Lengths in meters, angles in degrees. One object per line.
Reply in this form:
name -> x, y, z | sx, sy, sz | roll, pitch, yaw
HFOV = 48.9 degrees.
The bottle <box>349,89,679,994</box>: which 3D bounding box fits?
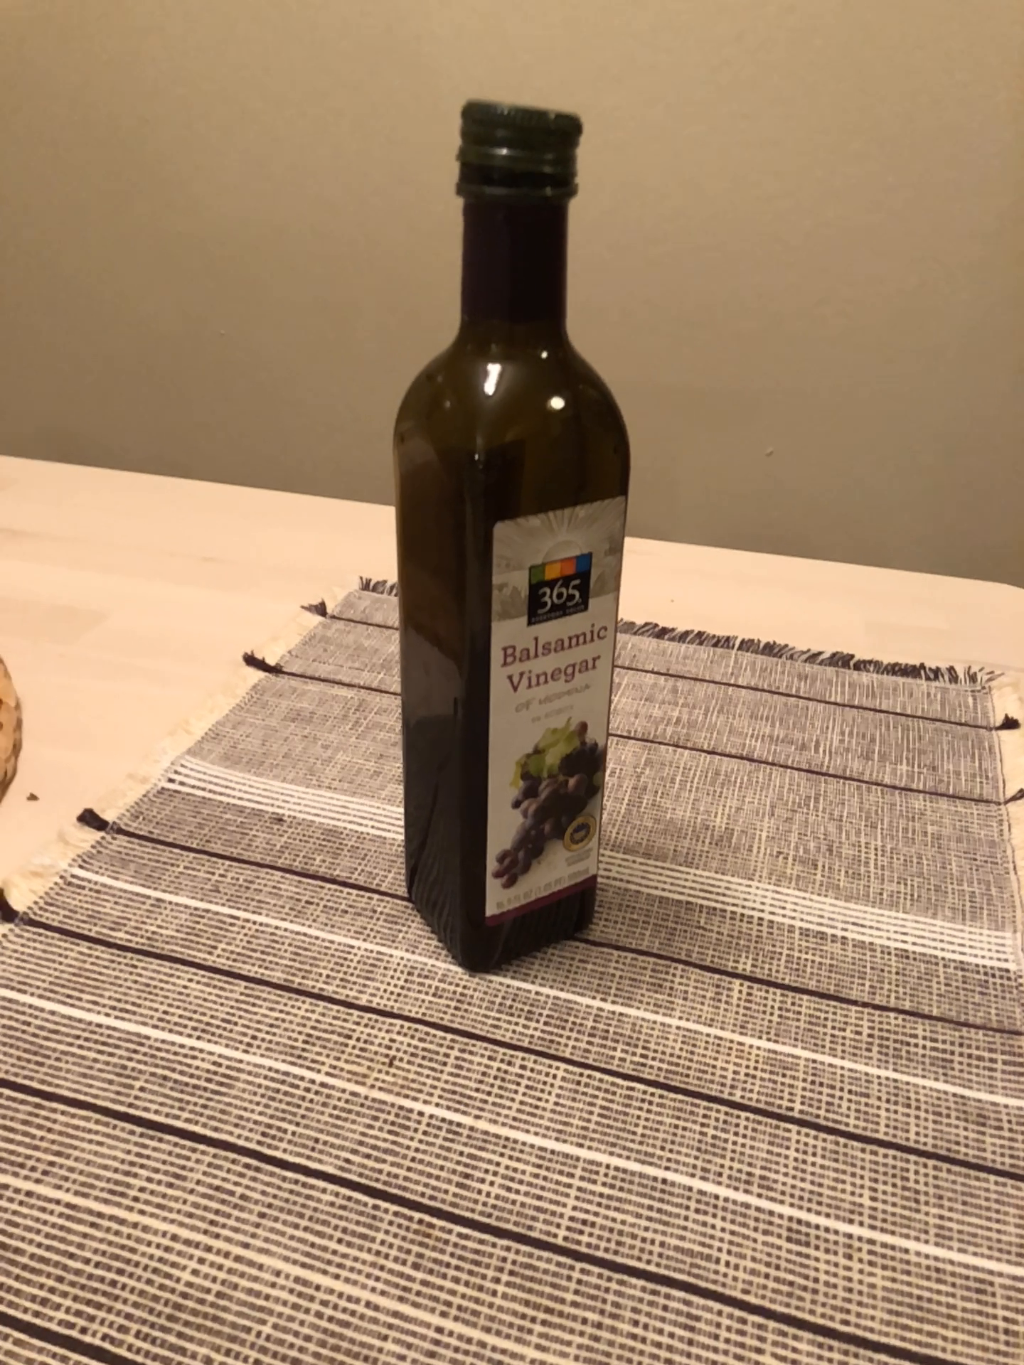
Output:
bottle -> -0.004, -0.032, 0.344 | 0.060, 0.261, 0.060 | 1, 29, -1
